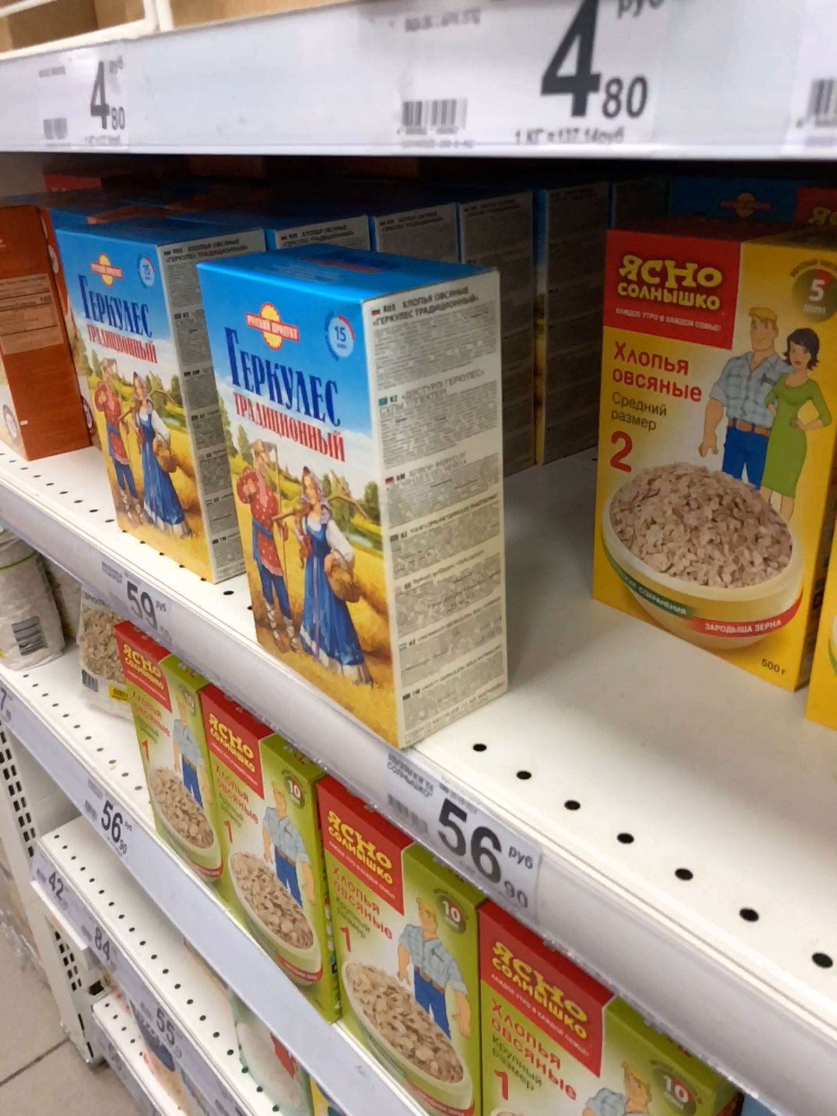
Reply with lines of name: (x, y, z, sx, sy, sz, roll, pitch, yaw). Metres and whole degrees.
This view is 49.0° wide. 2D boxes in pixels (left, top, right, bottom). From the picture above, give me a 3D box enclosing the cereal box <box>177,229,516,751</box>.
cereal box: (-0.029, -0.037, 0.405, 0.070, 0.189, 0.130, -23, 32, -33)
